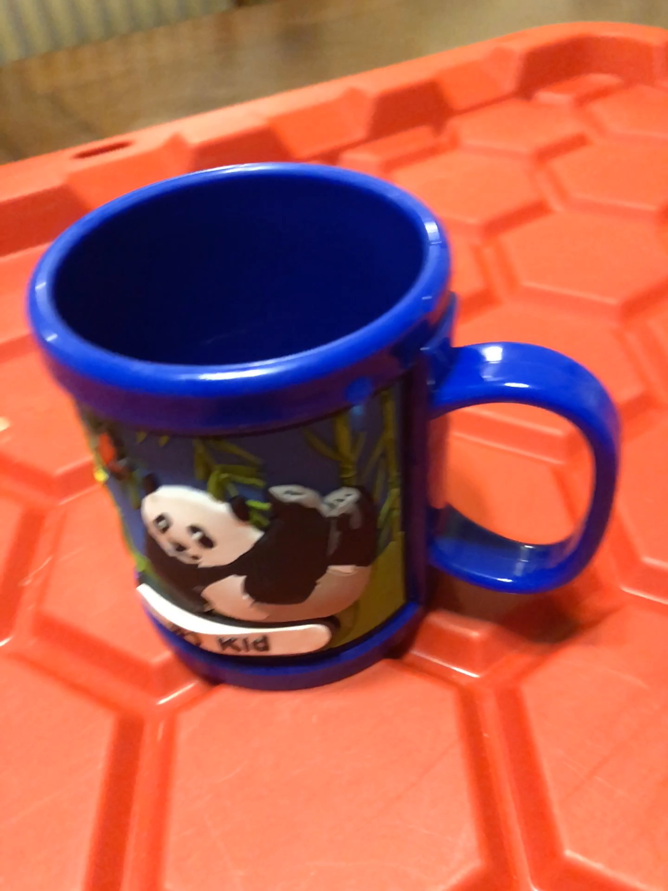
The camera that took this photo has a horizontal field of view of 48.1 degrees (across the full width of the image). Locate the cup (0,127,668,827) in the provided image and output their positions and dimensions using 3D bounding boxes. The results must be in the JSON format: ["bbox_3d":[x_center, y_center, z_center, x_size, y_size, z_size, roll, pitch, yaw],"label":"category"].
[{"bbox_3d":[0.002,0.001,0.168,0.120,0.099,0.090,13,47,18],"label":"cup"}]
